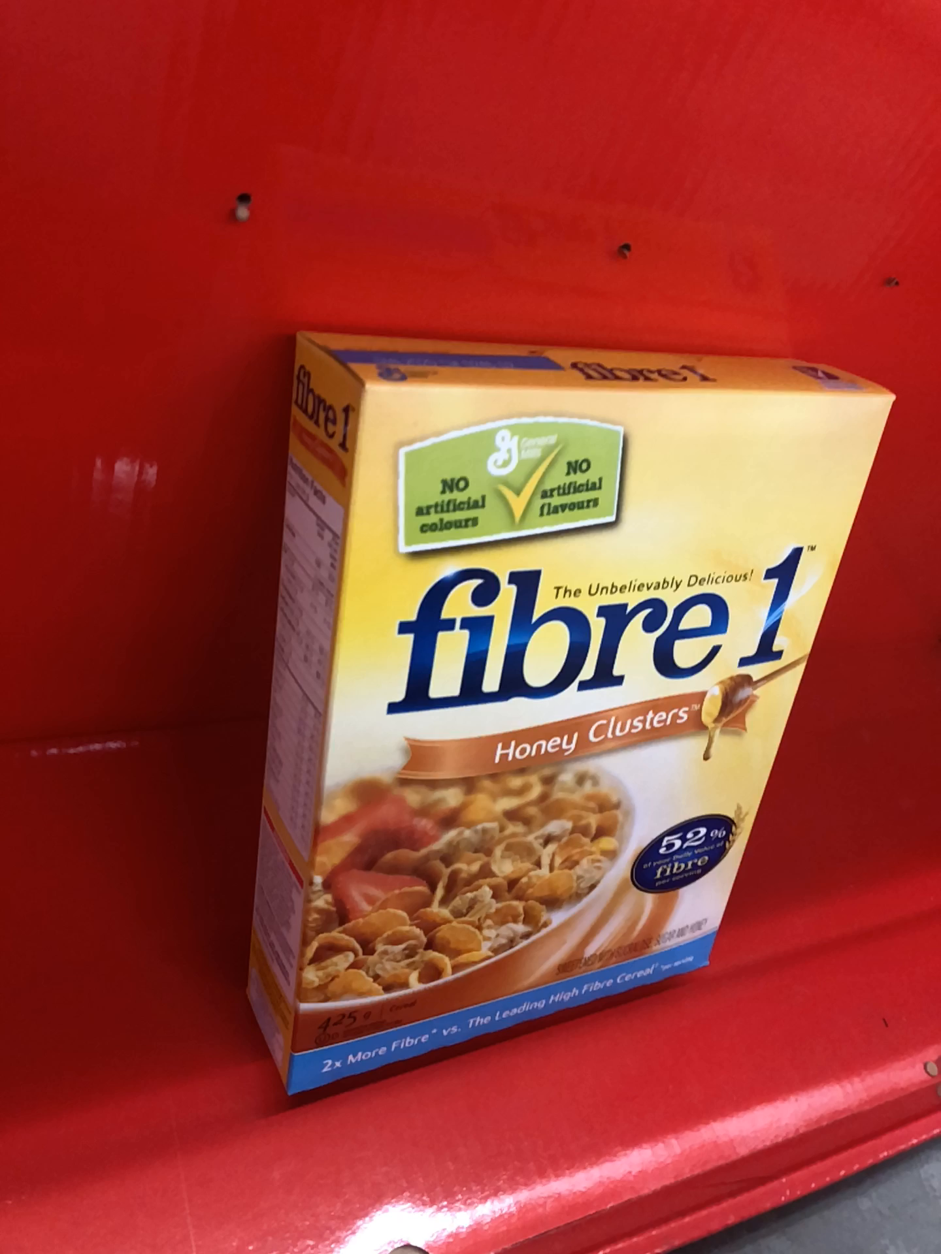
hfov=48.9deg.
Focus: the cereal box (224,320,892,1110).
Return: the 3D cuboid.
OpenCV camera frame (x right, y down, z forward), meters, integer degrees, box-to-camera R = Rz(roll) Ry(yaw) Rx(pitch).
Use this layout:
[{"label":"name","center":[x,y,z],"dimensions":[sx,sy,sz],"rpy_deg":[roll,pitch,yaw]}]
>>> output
[{"label":"cereal box","center":[0.023,0.032,0.393],"dimensions":[0.210,0.269,0.060],"rpy_deg":[-6,28,-28]}]
